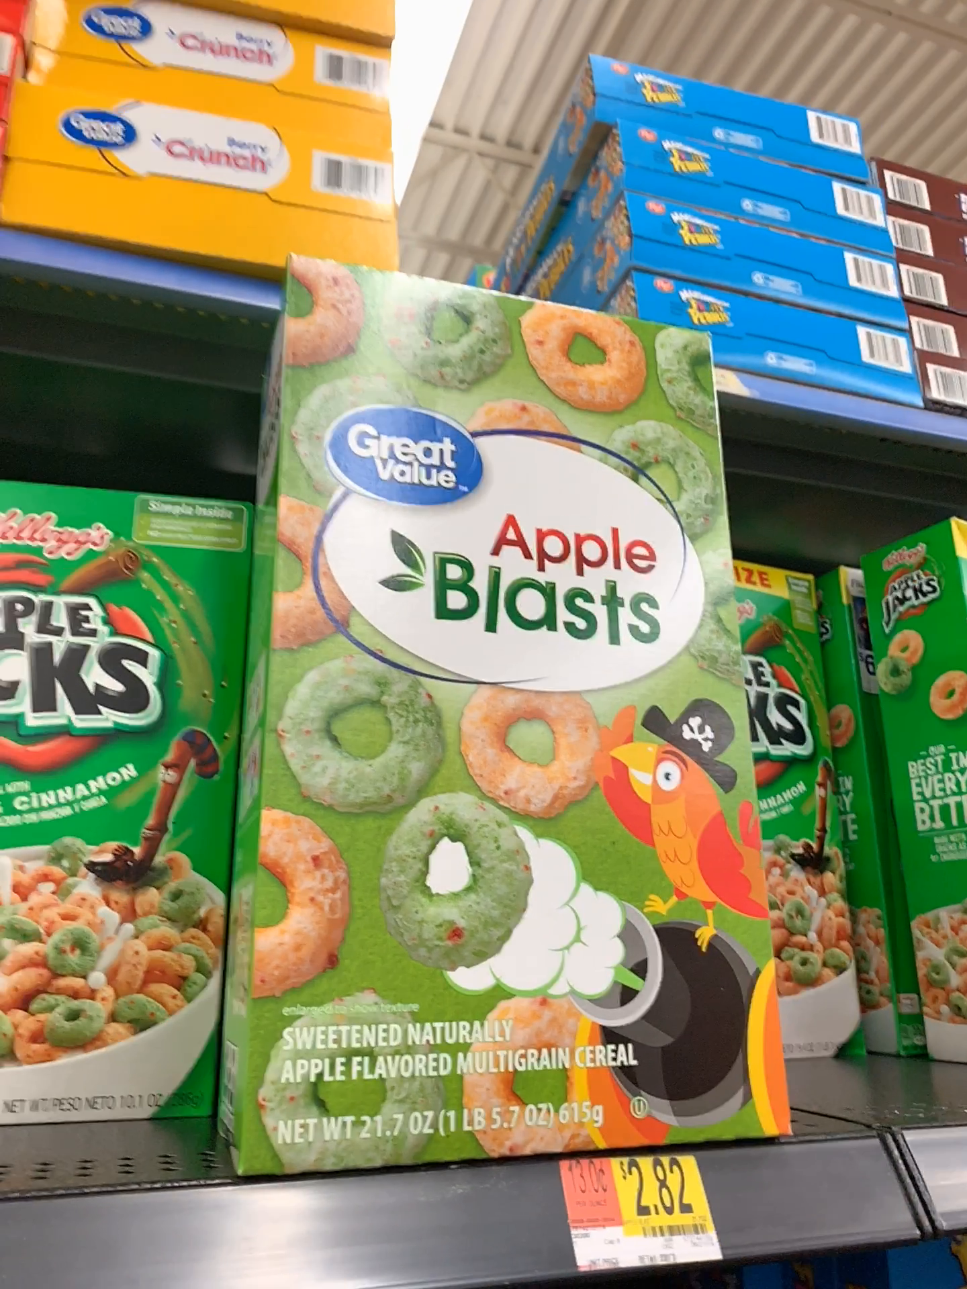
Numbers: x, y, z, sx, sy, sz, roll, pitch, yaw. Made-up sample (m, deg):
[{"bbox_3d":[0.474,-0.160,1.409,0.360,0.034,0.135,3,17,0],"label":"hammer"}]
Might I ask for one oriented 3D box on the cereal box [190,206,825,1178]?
[{"bbox_3d":[0.003,0.014,0.403,0.200,0.331,0.100,6,-20,-18],"label":"cereal box"}]
